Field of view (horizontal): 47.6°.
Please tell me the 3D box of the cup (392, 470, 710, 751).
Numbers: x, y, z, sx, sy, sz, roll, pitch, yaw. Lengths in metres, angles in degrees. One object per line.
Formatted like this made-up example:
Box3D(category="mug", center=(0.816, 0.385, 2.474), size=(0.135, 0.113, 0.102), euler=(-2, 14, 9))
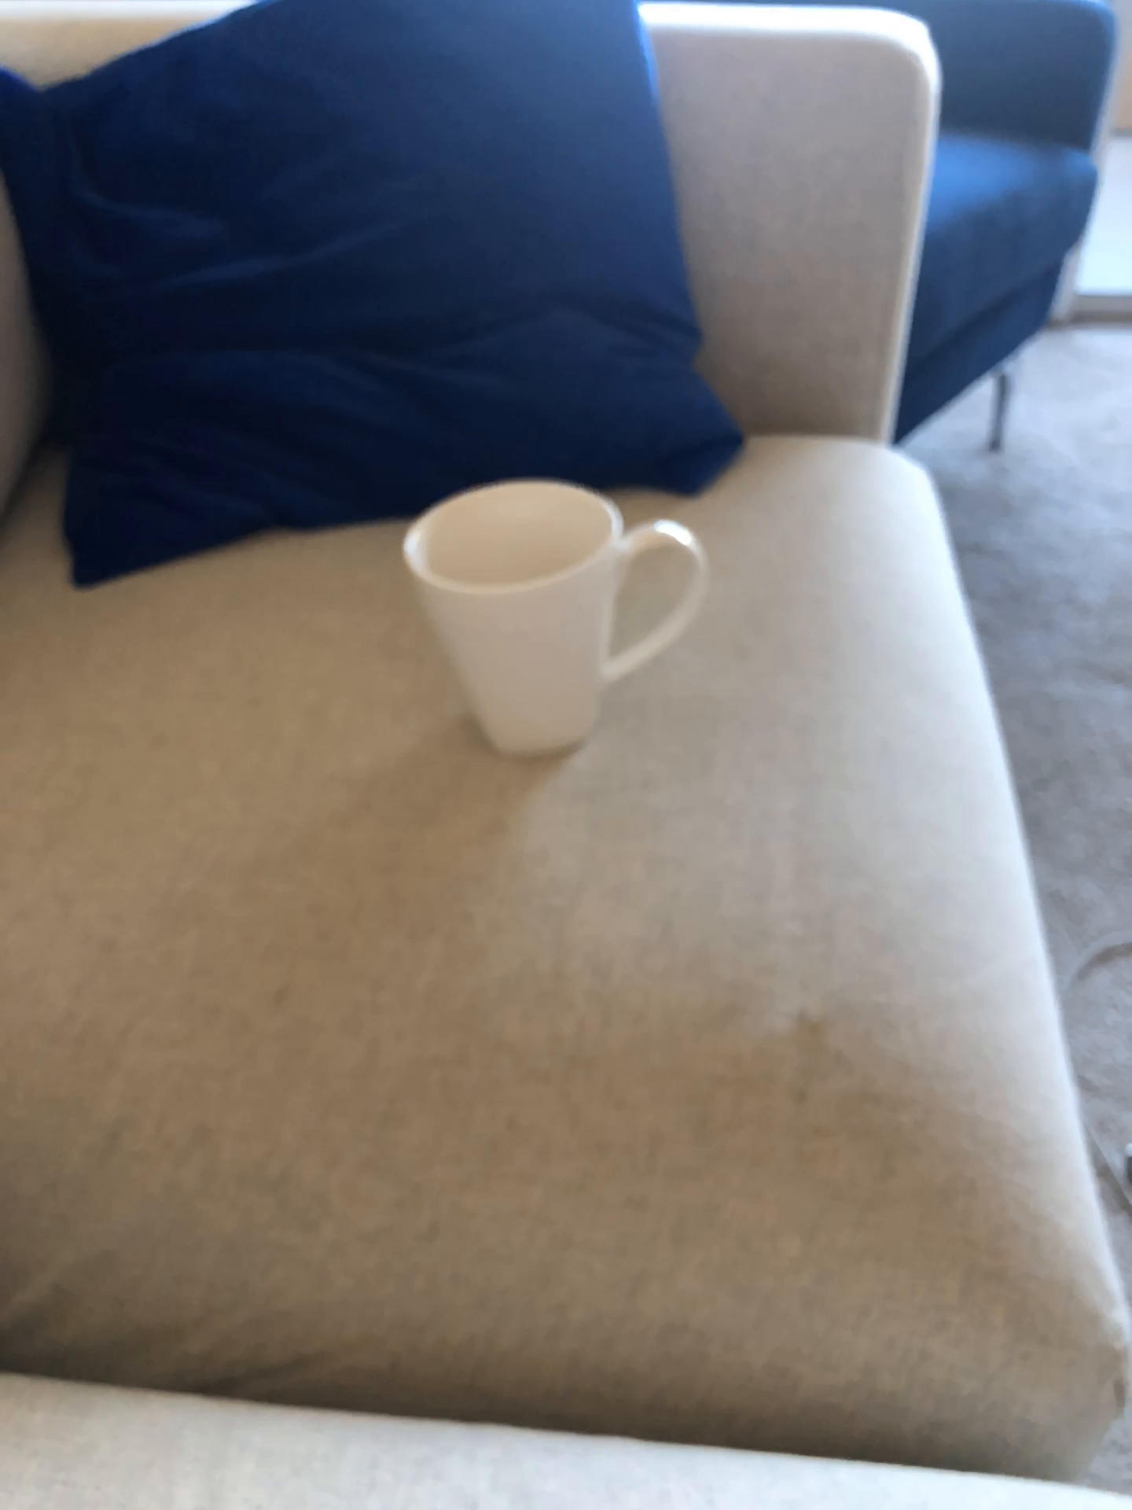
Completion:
Box3D(category="cup", center=(-0.005, -0.068, 0.591), size=(0.130, 0.090, 0.101), euler=(0, 37, 1))
